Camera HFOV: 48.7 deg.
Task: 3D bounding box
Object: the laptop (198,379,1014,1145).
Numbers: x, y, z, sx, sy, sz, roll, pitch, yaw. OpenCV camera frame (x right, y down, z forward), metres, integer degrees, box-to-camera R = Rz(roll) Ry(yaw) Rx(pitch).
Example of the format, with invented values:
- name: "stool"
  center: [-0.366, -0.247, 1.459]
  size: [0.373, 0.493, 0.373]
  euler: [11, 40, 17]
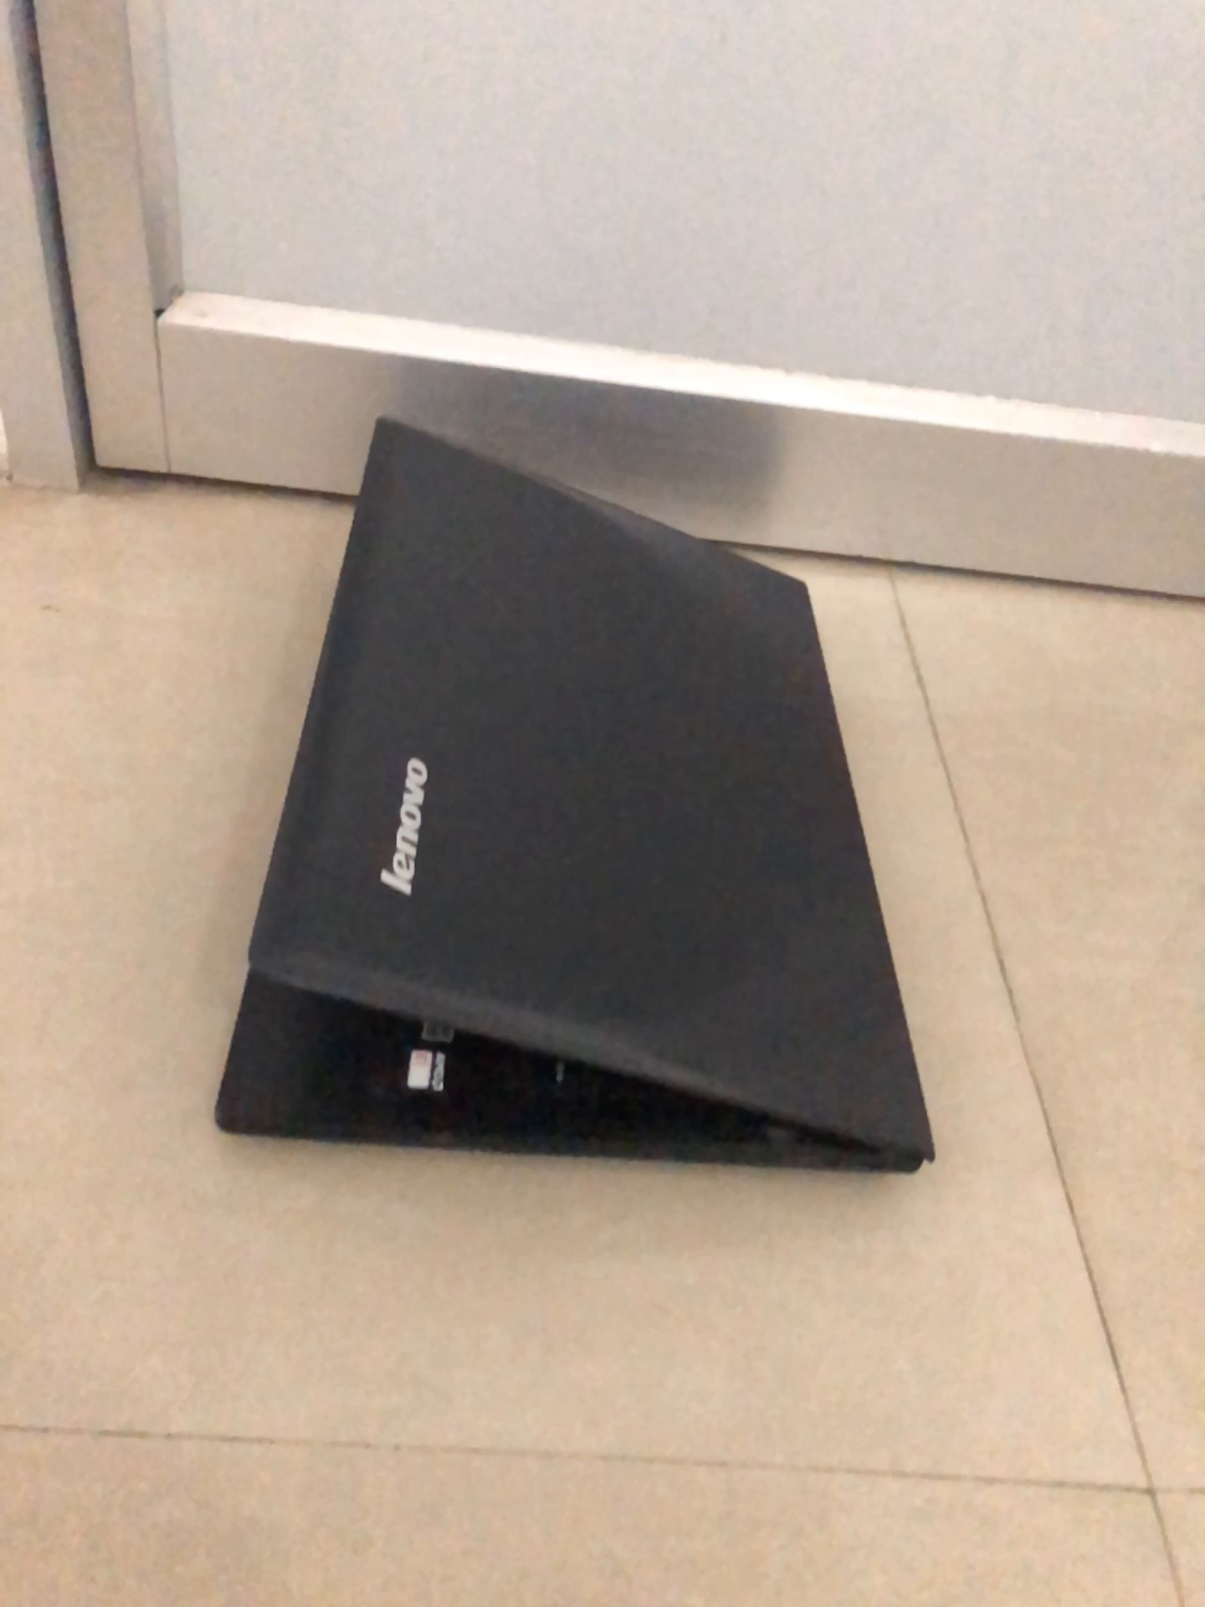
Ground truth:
- name: "laptop"
  center: [-0.003, -0.043, 0.583]
  size: [0.257, 0.097, 0.369]
  euler: [5, 42, -7]
